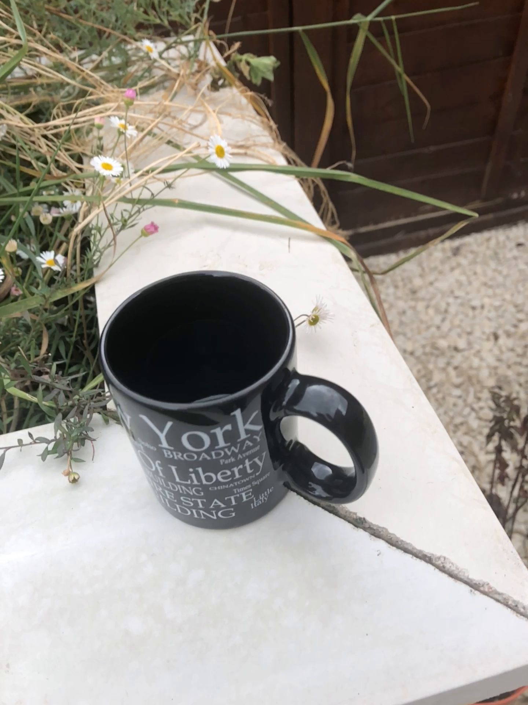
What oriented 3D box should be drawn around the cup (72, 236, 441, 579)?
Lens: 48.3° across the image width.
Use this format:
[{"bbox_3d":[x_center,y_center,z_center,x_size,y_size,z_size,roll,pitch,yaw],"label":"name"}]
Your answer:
[{"bbox_3d":[0.001,0.015,0.195,0.090,0.069,0.060,15,48,19],"label":"cup"}]
